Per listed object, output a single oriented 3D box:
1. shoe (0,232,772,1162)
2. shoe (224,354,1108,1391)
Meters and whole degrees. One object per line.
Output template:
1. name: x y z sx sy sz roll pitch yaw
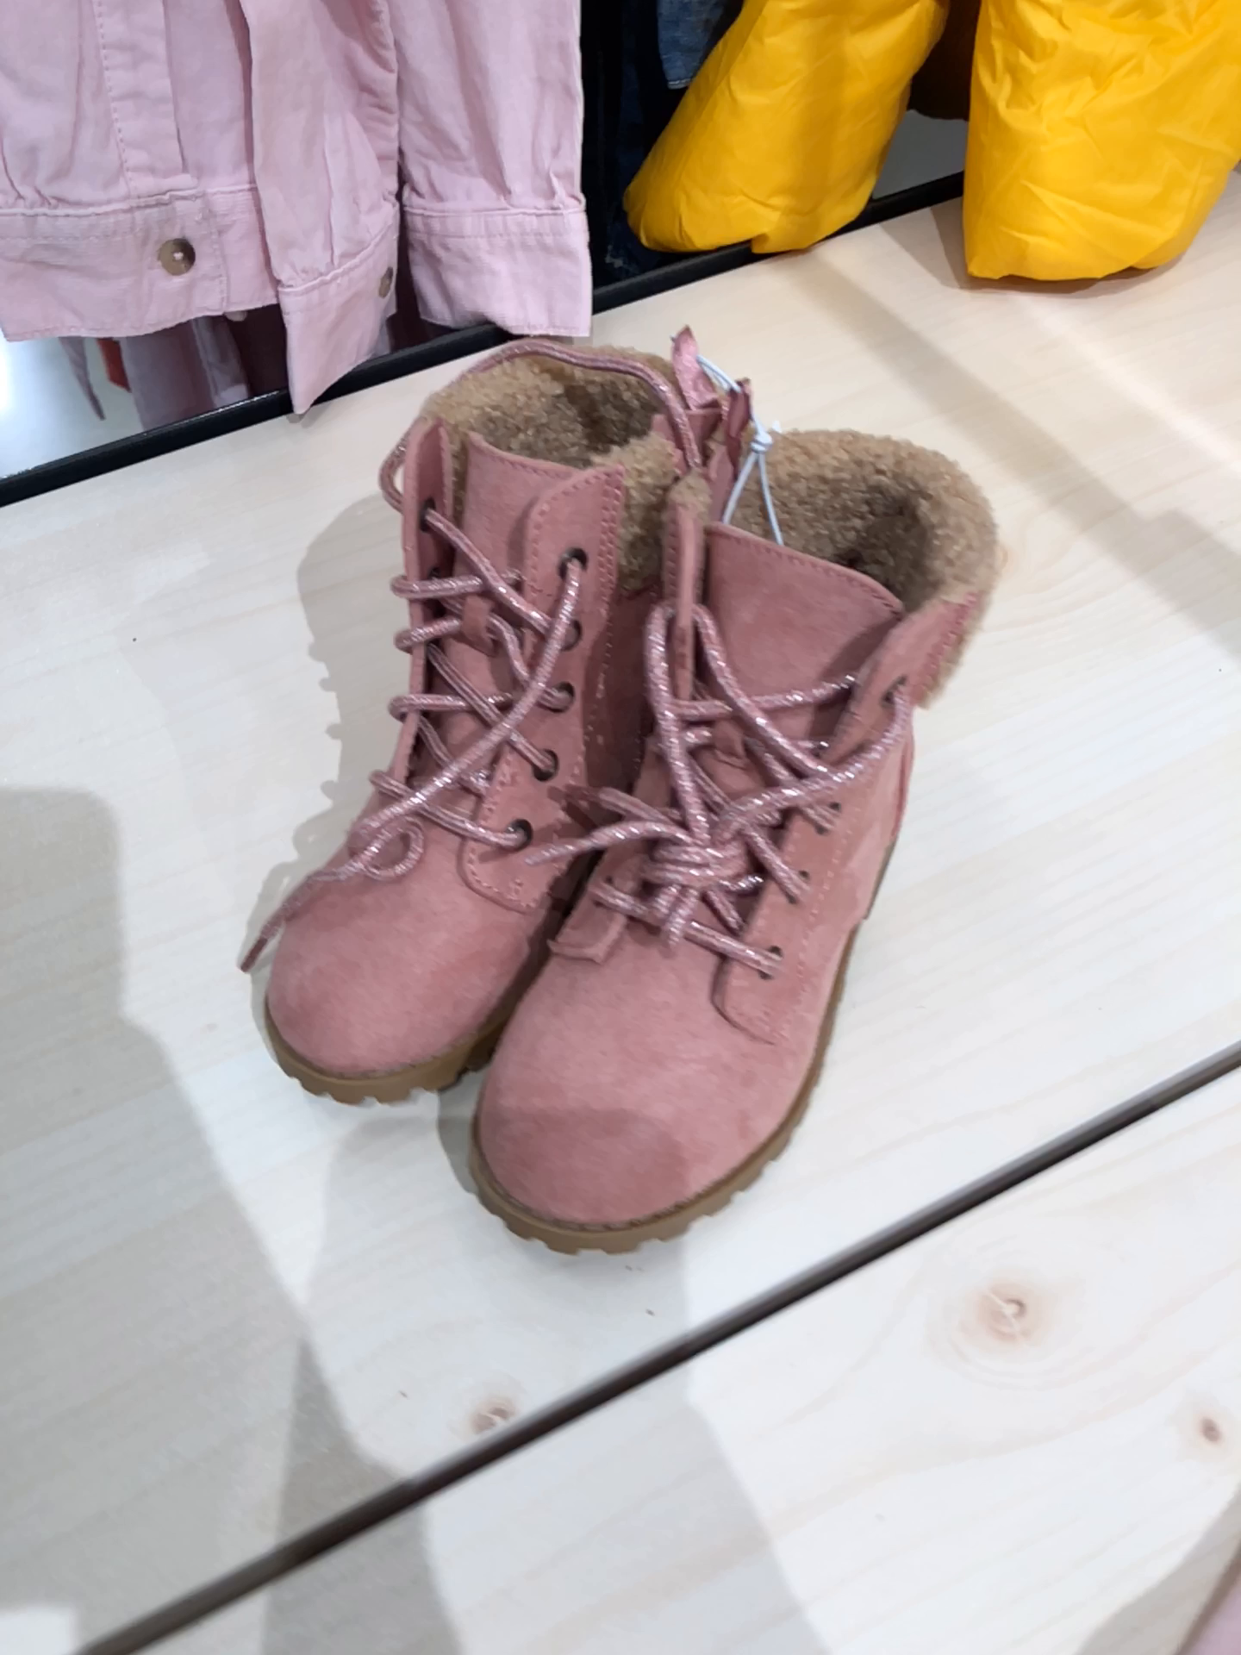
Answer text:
1. shoe: -0.042 -0.034 0.313 0.080 0.120 0.160 25 56 24
2. shoe: 0.020 0.005 0.285 0.080 0.120 0.160 25 56 24
